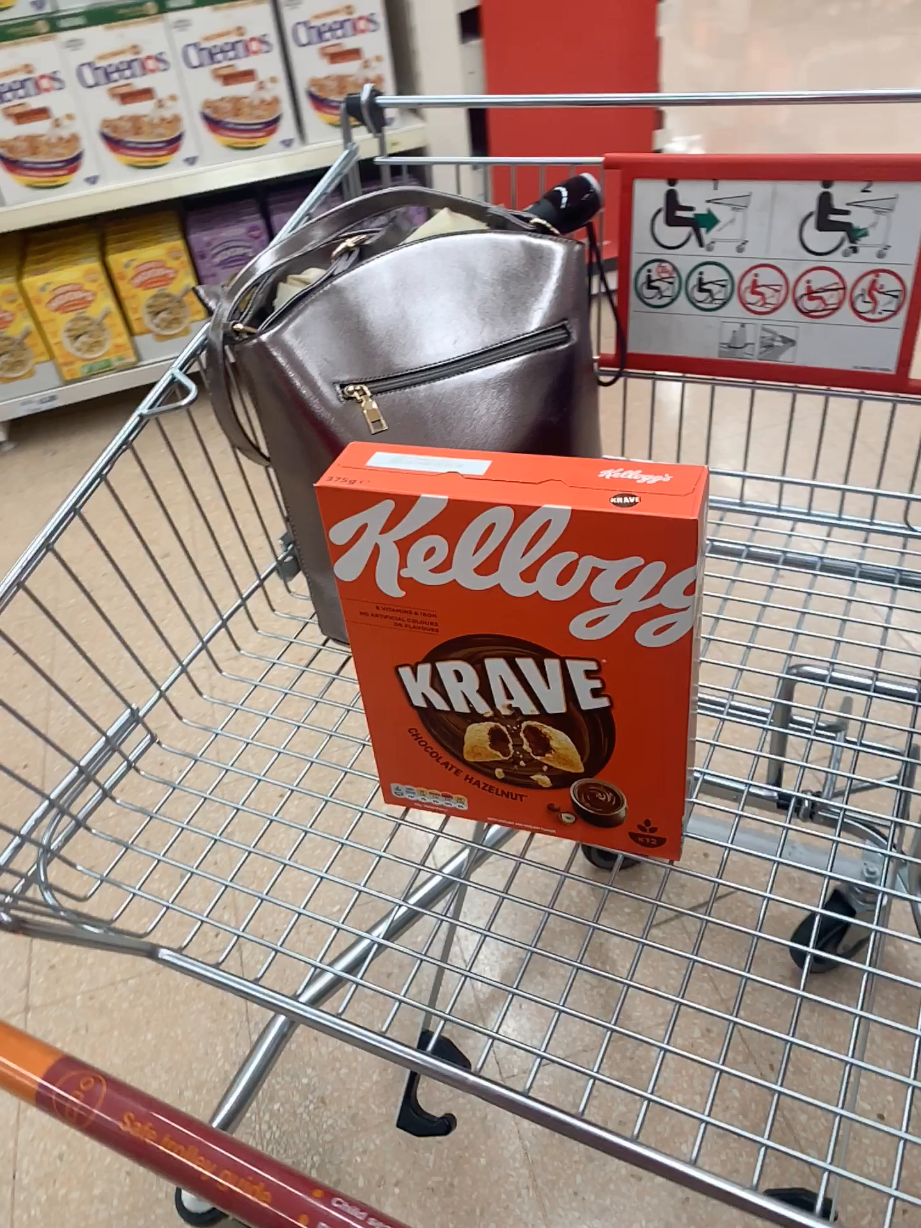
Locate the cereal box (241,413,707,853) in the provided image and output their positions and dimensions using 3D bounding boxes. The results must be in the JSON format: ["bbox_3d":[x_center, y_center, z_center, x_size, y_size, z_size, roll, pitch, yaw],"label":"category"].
[{"bbox_3d":[0.014,0.015,0.503,0.210,0.228,0.050,8,40,18],"label":"cereal box"}]
